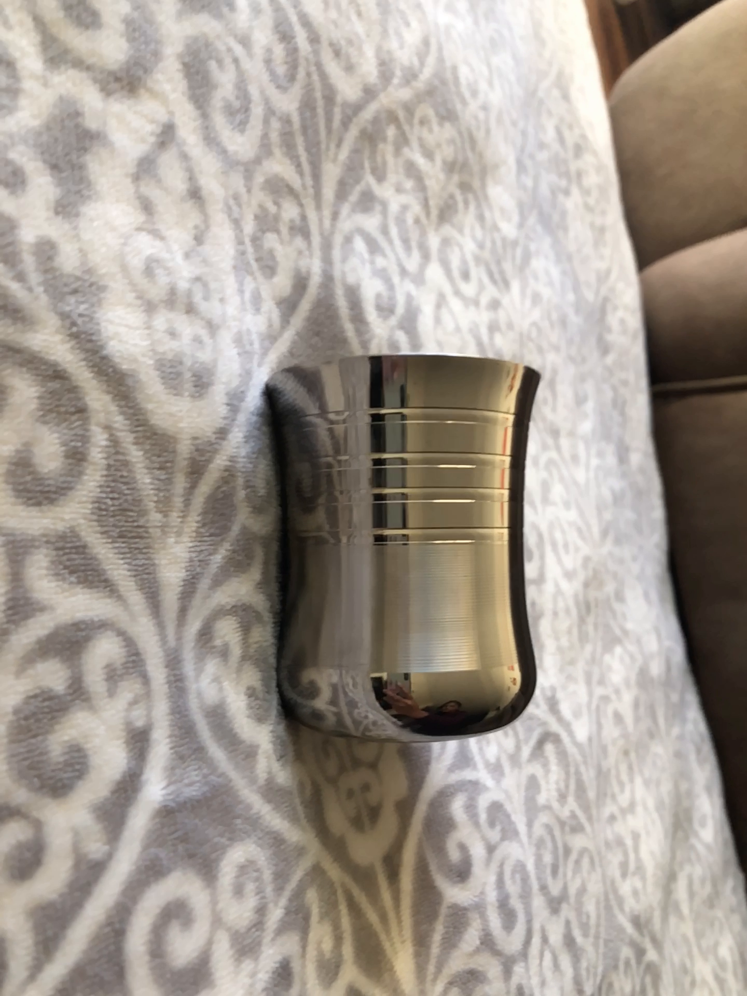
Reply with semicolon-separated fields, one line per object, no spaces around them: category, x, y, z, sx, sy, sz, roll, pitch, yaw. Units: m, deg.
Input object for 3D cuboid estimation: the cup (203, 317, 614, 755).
cup;0.012;0.013;0.214;0.078;0.066;0.086;5;78;-58
